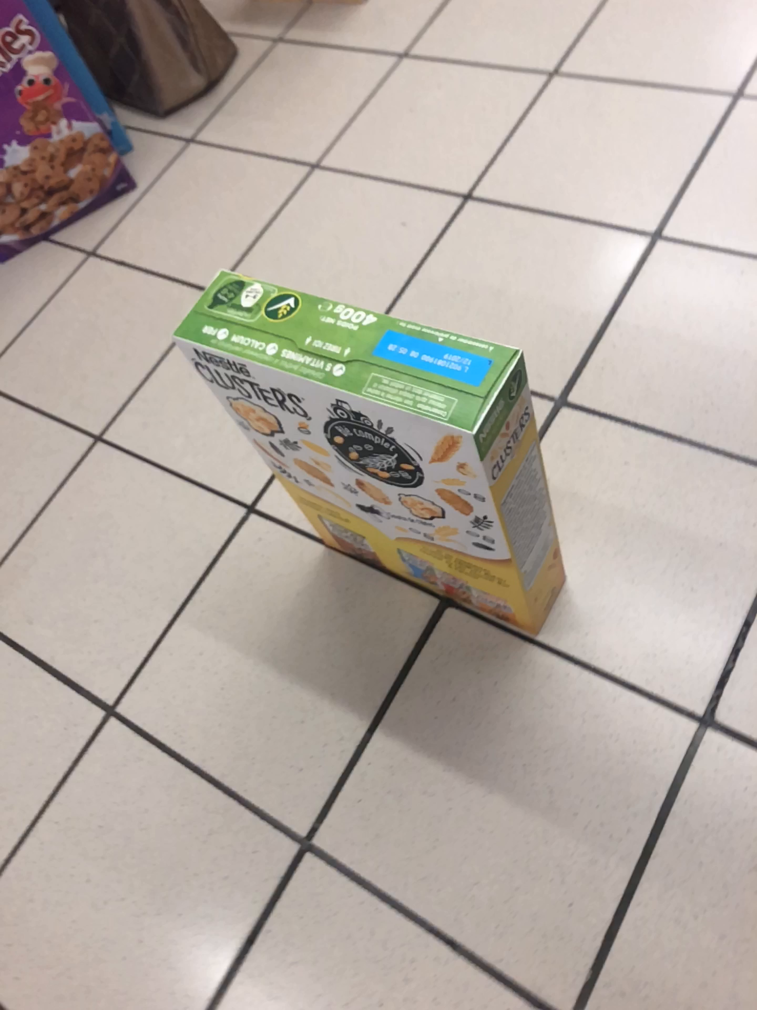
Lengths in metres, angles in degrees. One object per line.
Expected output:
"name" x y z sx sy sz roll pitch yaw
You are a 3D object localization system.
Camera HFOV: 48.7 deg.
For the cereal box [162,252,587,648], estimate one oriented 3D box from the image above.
"cereal box" 0.018 -0.021 0.545 0.210 0.279 0.060 21 69 26
